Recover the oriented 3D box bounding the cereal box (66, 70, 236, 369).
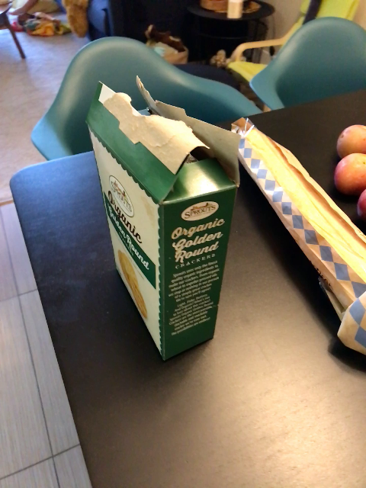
[{"bbox_3d":[-0.036,-0.020,0.417,0.080,0.248,0.171,-19,46,-19],"label":"cereal box"}]
